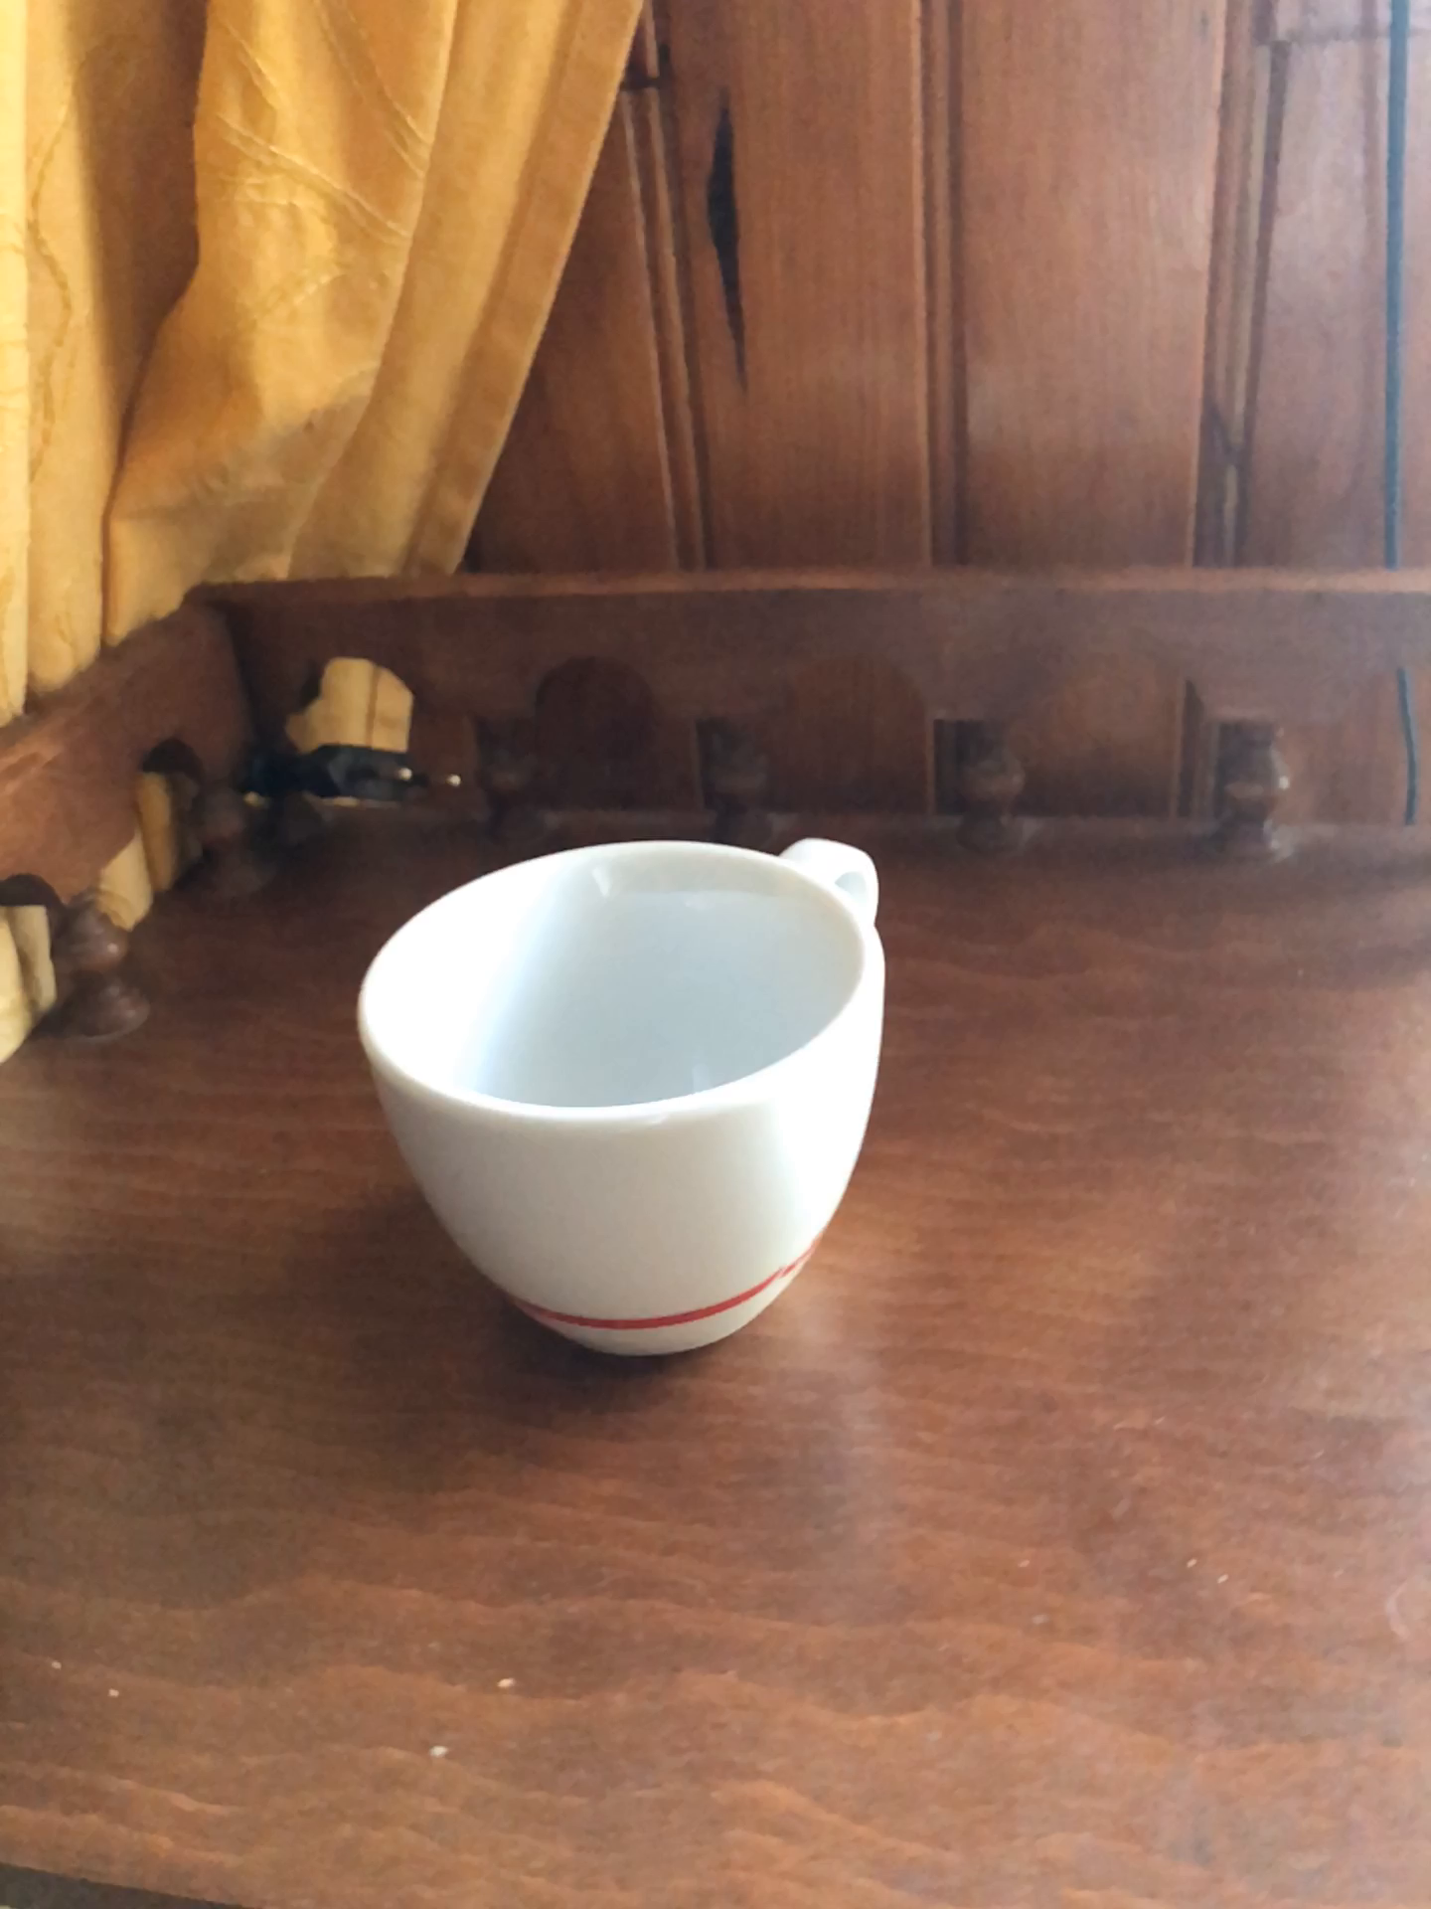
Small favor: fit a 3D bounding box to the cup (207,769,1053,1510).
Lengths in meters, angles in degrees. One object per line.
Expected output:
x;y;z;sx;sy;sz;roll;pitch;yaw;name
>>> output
-0.008;0.020;0.273;0.090;0.050;0.111;17;38;32;cup
